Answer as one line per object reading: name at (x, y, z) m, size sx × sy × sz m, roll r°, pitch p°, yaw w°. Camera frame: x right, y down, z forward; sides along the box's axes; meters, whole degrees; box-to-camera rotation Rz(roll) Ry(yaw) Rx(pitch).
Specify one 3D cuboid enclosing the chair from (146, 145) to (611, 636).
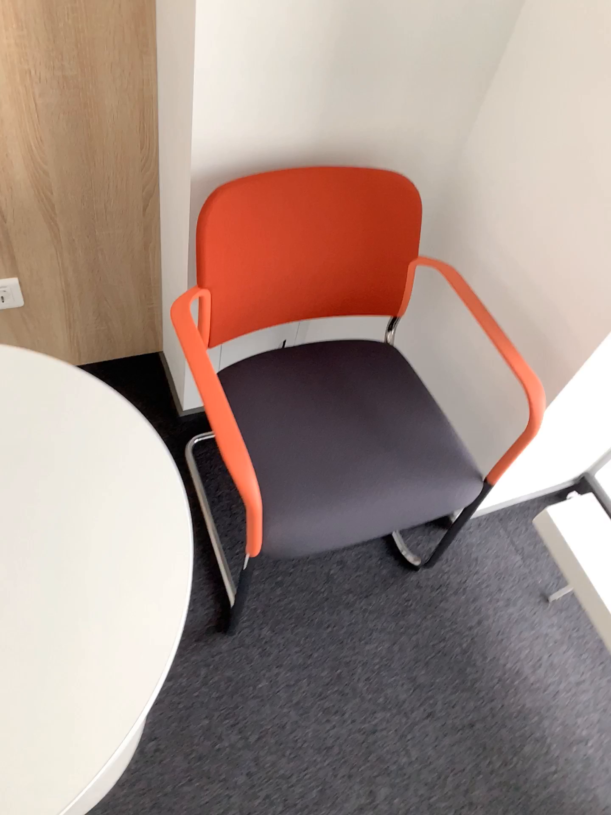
chair at (0.035, -0.004, 1.274) m, size 0.571 × 0.777 × 0.561 m, roll -11°, pitch 58°, yaw -19°
